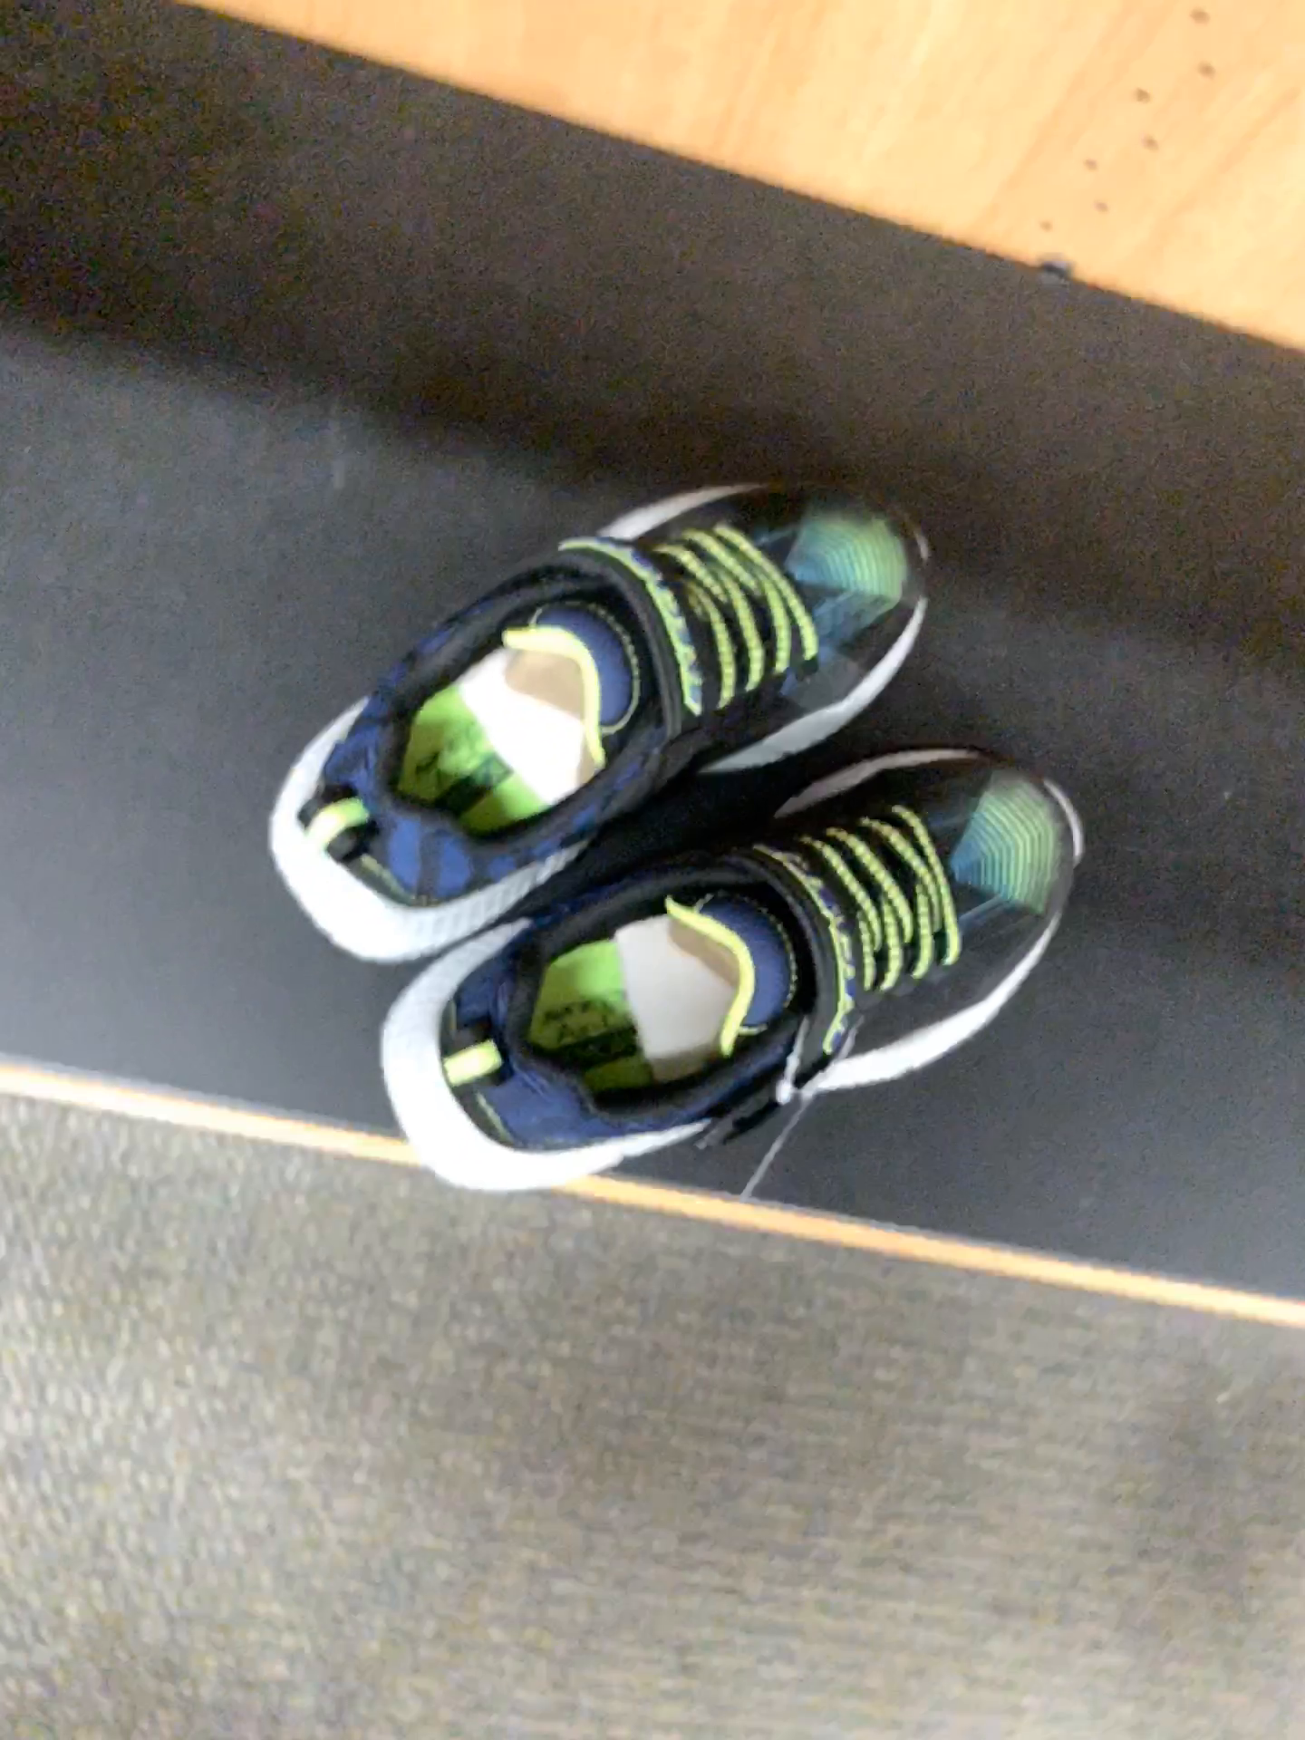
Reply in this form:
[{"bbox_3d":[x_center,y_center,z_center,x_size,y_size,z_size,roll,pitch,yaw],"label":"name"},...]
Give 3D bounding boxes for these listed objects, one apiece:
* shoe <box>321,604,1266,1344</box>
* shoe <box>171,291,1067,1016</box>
[{"bbox_3d":[0.033,0.026,0.381,0.220,0.100,0.098,-24,84,-16],"label":"shoe"},{"bbox_3d":[-0.010,-0.060,0.400,0.220,0.100,0.092,-31,86,-16],"label":"shoe"}]
